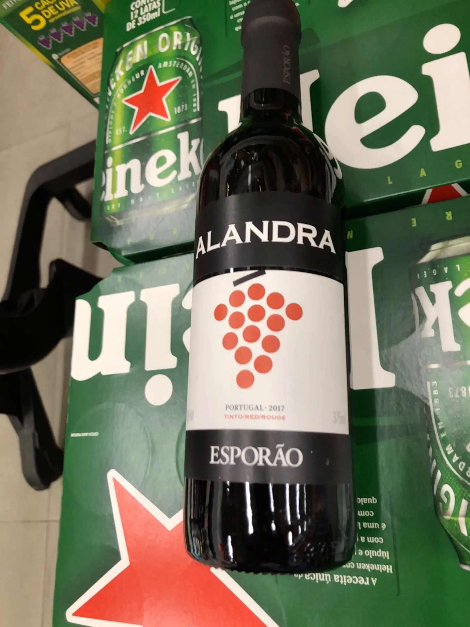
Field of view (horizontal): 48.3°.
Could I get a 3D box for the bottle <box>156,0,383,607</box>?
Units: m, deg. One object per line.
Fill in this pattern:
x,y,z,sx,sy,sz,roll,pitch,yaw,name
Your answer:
0.017,-0.034,0.197,0.060,0.060,0.240,-2,74,13,bottle
